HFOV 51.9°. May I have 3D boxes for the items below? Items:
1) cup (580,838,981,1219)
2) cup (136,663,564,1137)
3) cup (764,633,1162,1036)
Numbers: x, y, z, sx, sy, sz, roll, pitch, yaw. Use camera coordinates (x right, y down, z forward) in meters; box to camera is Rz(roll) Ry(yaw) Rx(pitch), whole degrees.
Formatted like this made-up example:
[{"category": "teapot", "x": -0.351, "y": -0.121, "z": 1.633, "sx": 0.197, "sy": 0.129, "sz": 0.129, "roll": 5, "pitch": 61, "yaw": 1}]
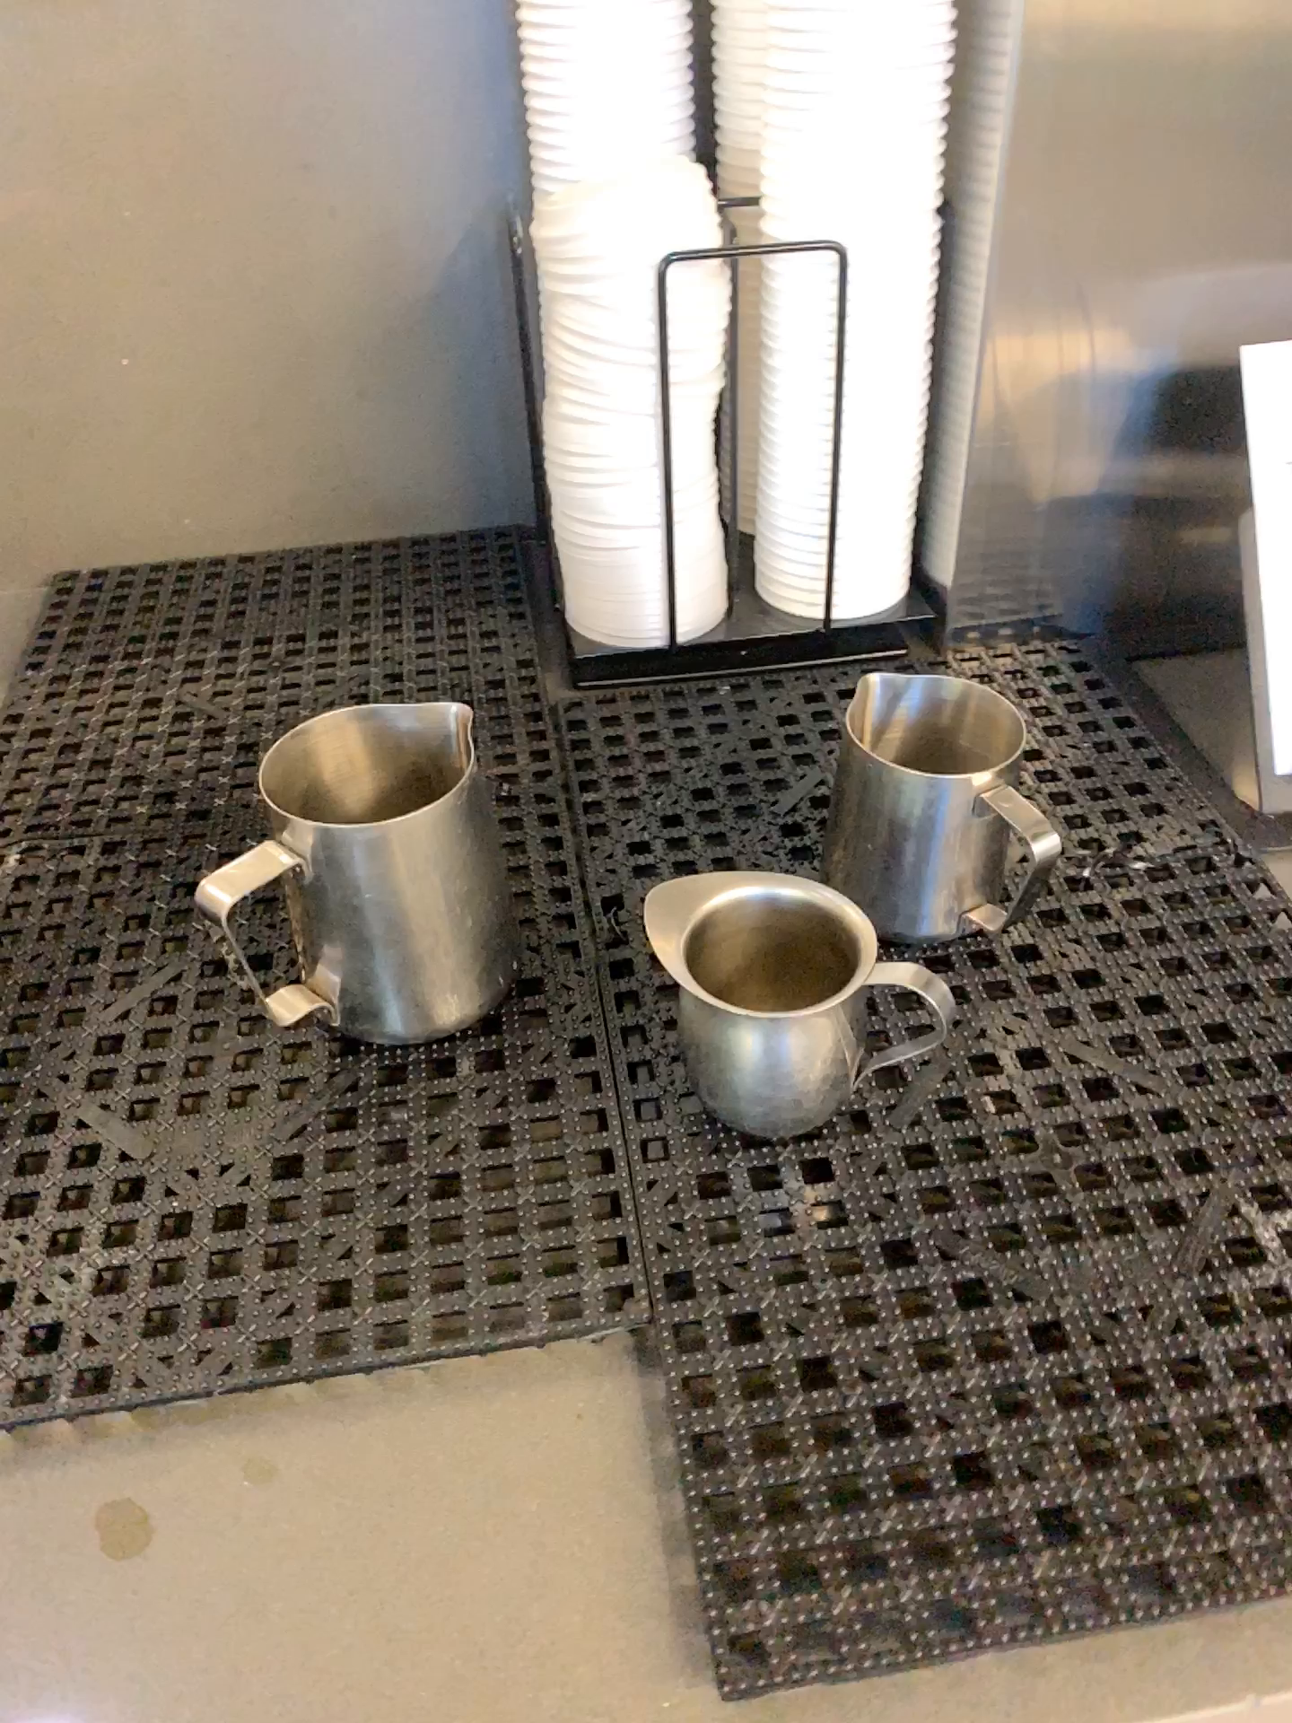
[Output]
[{"category": "cup", "x": 0.045, "y": 0.053, "z": 0.448, "sx": 0.110, "sy": 0.070, "sz": 0.070, "roll": 16, "pitch": 43, "yaw": 22}, {"category": "cup", "x": -0.100, "y": 0.011, "z": 0.487, "sx": 0.070, "sy": 0.109, "sz": 0.120, "roll": 26, "pitch": 47, "yaw": 30}, {"category": "cup", "x": 0.115, "y": -0.016, "z": 0.518, "sx": 0.080, "sy": 0.080, "sz": 0.131, "roll": -20, "pitch": 42, "yaw": -20}]
